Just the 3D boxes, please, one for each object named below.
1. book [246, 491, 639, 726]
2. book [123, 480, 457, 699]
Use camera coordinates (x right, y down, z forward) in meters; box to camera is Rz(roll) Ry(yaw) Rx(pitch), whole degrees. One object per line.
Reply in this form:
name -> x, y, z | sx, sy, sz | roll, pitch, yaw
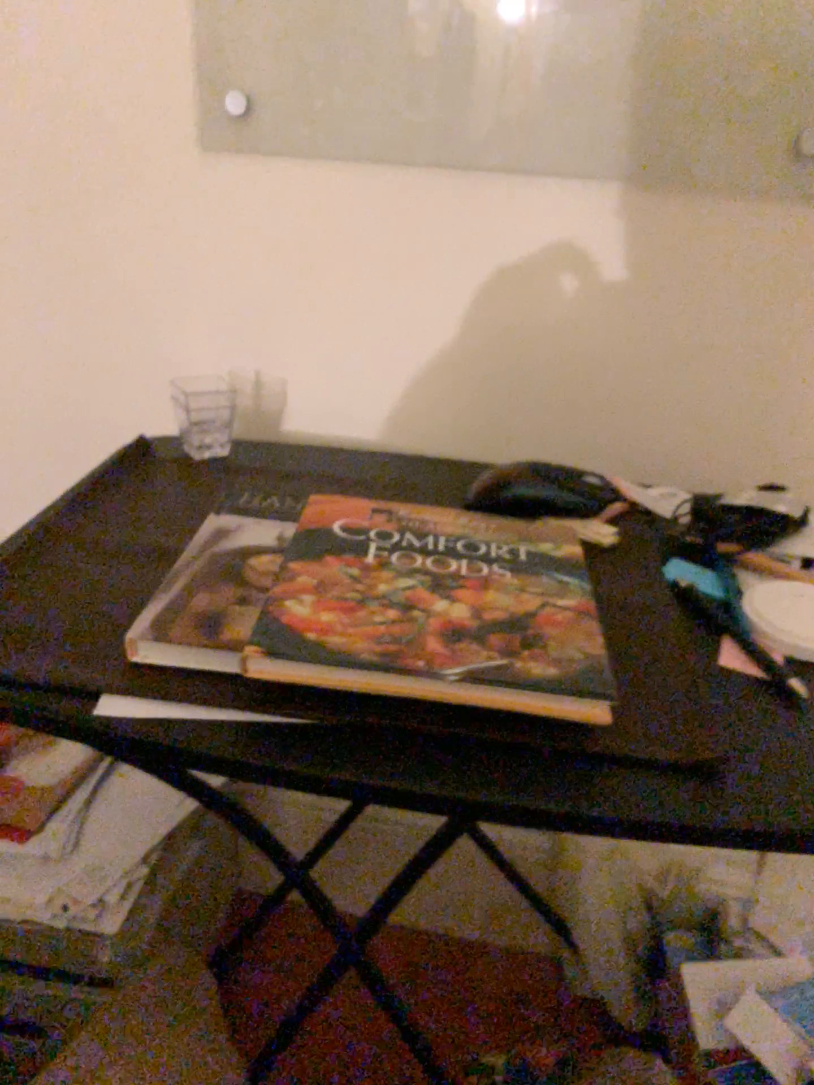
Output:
book -> 0.023, 0.028, 0.529 | 0.200, 0.020, 0.211 | 6, 27, 1
book -> -0.060, 0.019, 0.567 | 0.180, 0.020, 0.221 | 6, 27, 2
